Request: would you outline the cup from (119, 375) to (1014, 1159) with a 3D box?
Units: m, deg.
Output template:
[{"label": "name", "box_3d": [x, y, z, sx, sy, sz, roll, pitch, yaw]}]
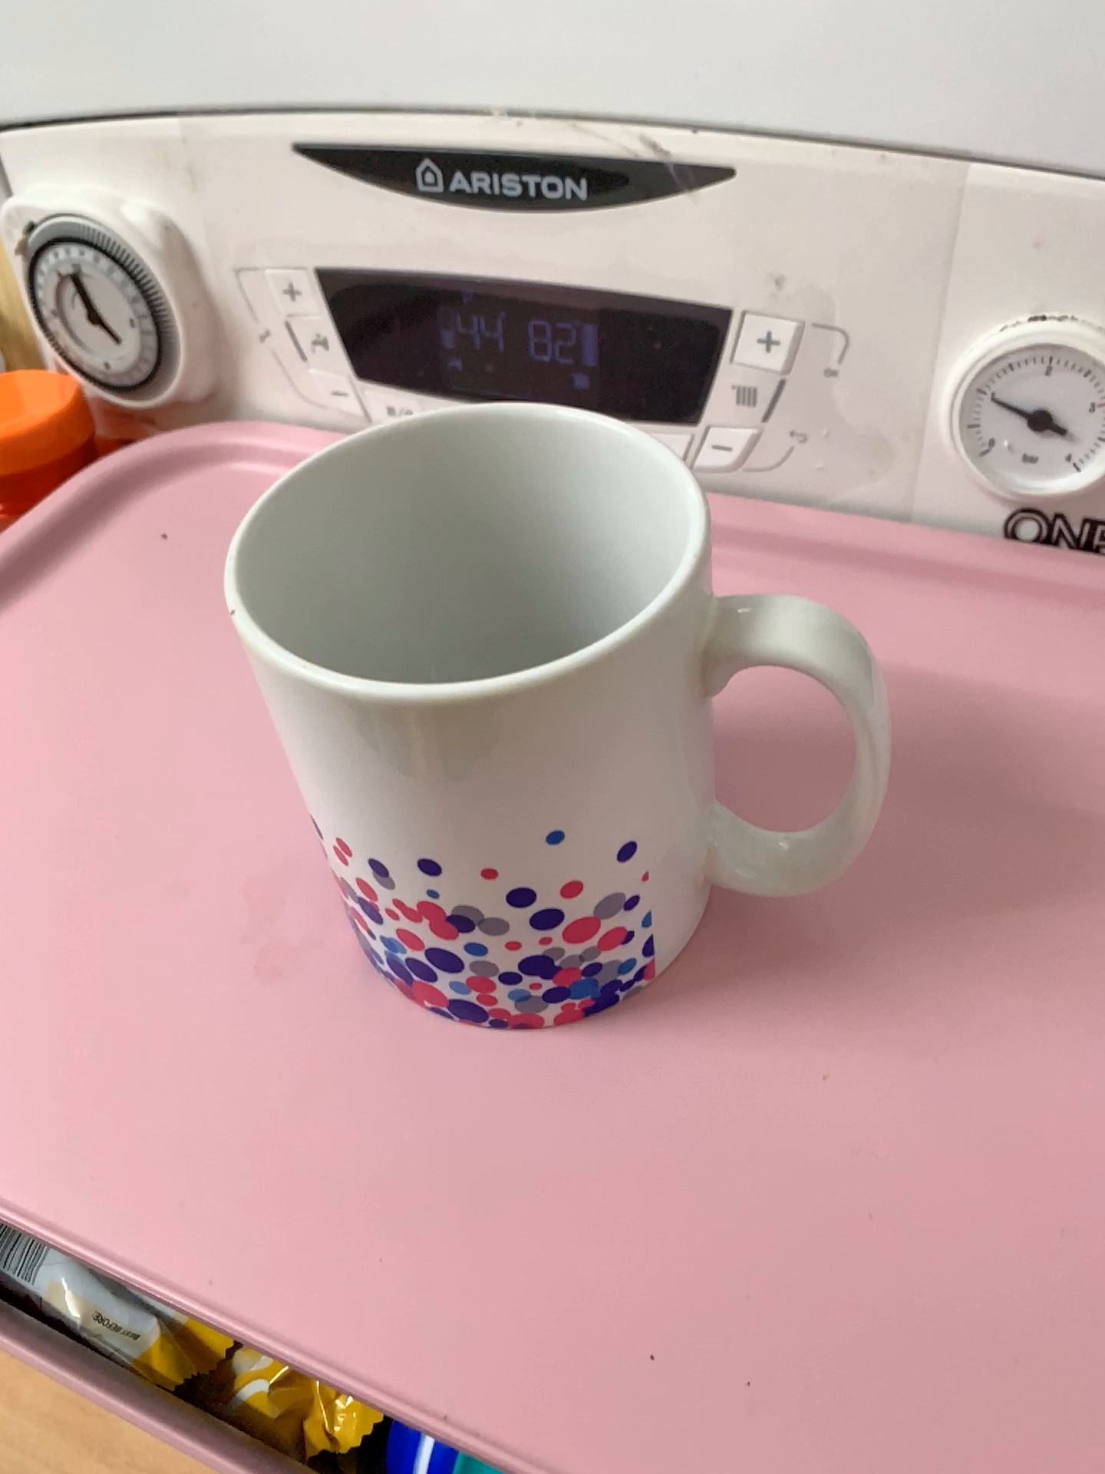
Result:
[{"label": "cup", "box_3d": [0.008, -0.001, 0.209, 0.120, 0.089, 0.081, 12, 43, 18]}]
